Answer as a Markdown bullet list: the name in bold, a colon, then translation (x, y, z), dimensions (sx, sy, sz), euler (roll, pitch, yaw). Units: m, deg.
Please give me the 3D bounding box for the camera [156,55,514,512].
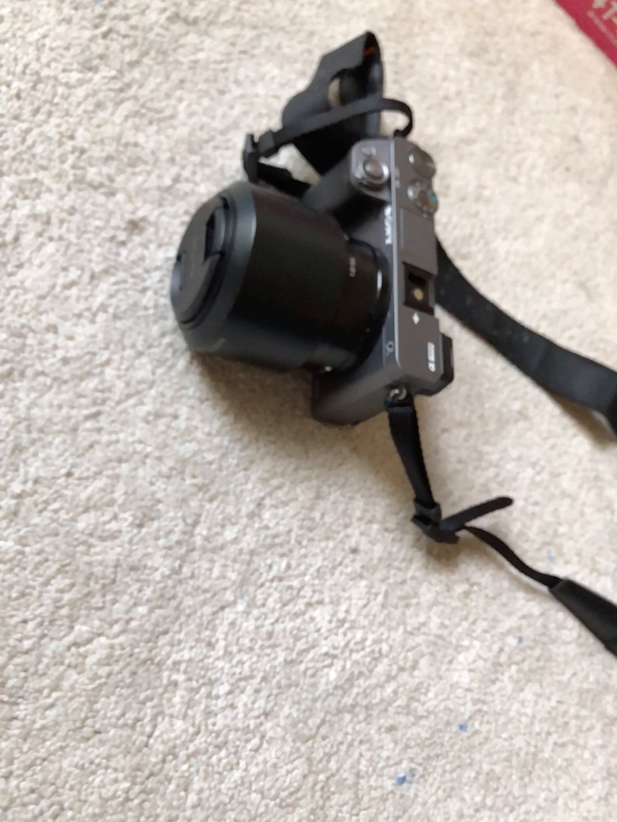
- **camera**: translation (0.009, -0.042, 0.279), dimensions (0.110, 0.070, 0.140), euler (13, 65, -30)
